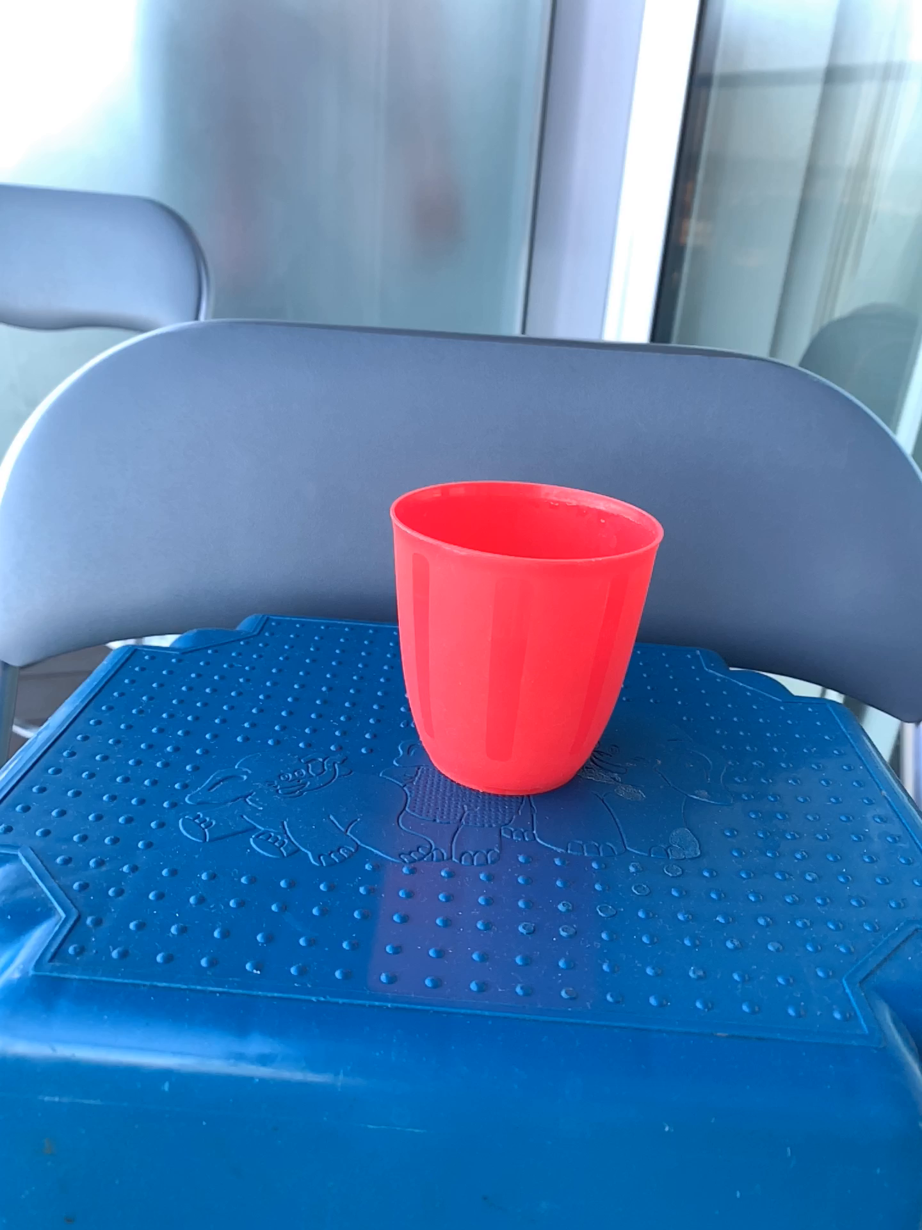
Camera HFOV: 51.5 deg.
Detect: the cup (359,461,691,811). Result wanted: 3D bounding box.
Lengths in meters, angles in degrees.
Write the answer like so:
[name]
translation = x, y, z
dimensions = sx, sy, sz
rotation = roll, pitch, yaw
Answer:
[cup]
translation = 0.017, 0.003, 0.302
dimensions = 0.086, 0.077, 0.074
rotation = 5, 26, 2
